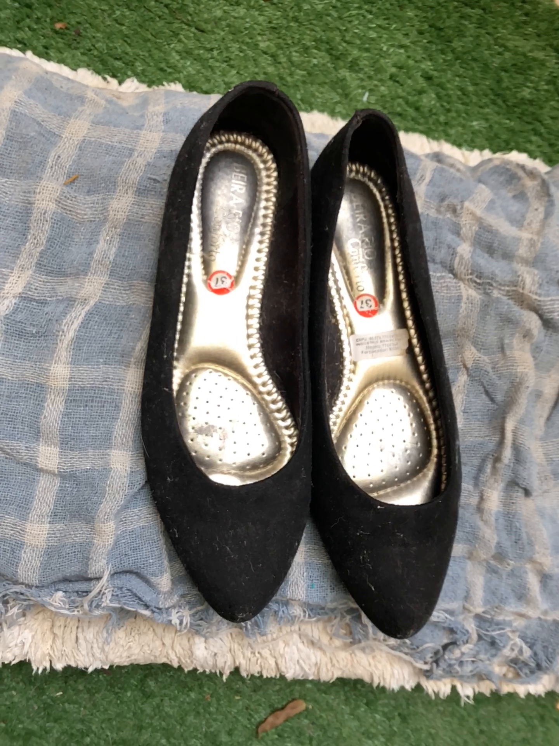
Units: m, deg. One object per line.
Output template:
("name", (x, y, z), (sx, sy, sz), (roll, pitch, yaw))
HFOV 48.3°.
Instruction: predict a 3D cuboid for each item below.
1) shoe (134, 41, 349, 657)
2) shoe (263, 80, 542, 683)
("shoe", (-0.024, -0.014, 0.316), (0.090, 0.080, 0.270), (0, 83, -9))
("shoe", (0.053, -0.002, 0.323), (0.090, 0.080, 0.270), (-4, 83, -10))
